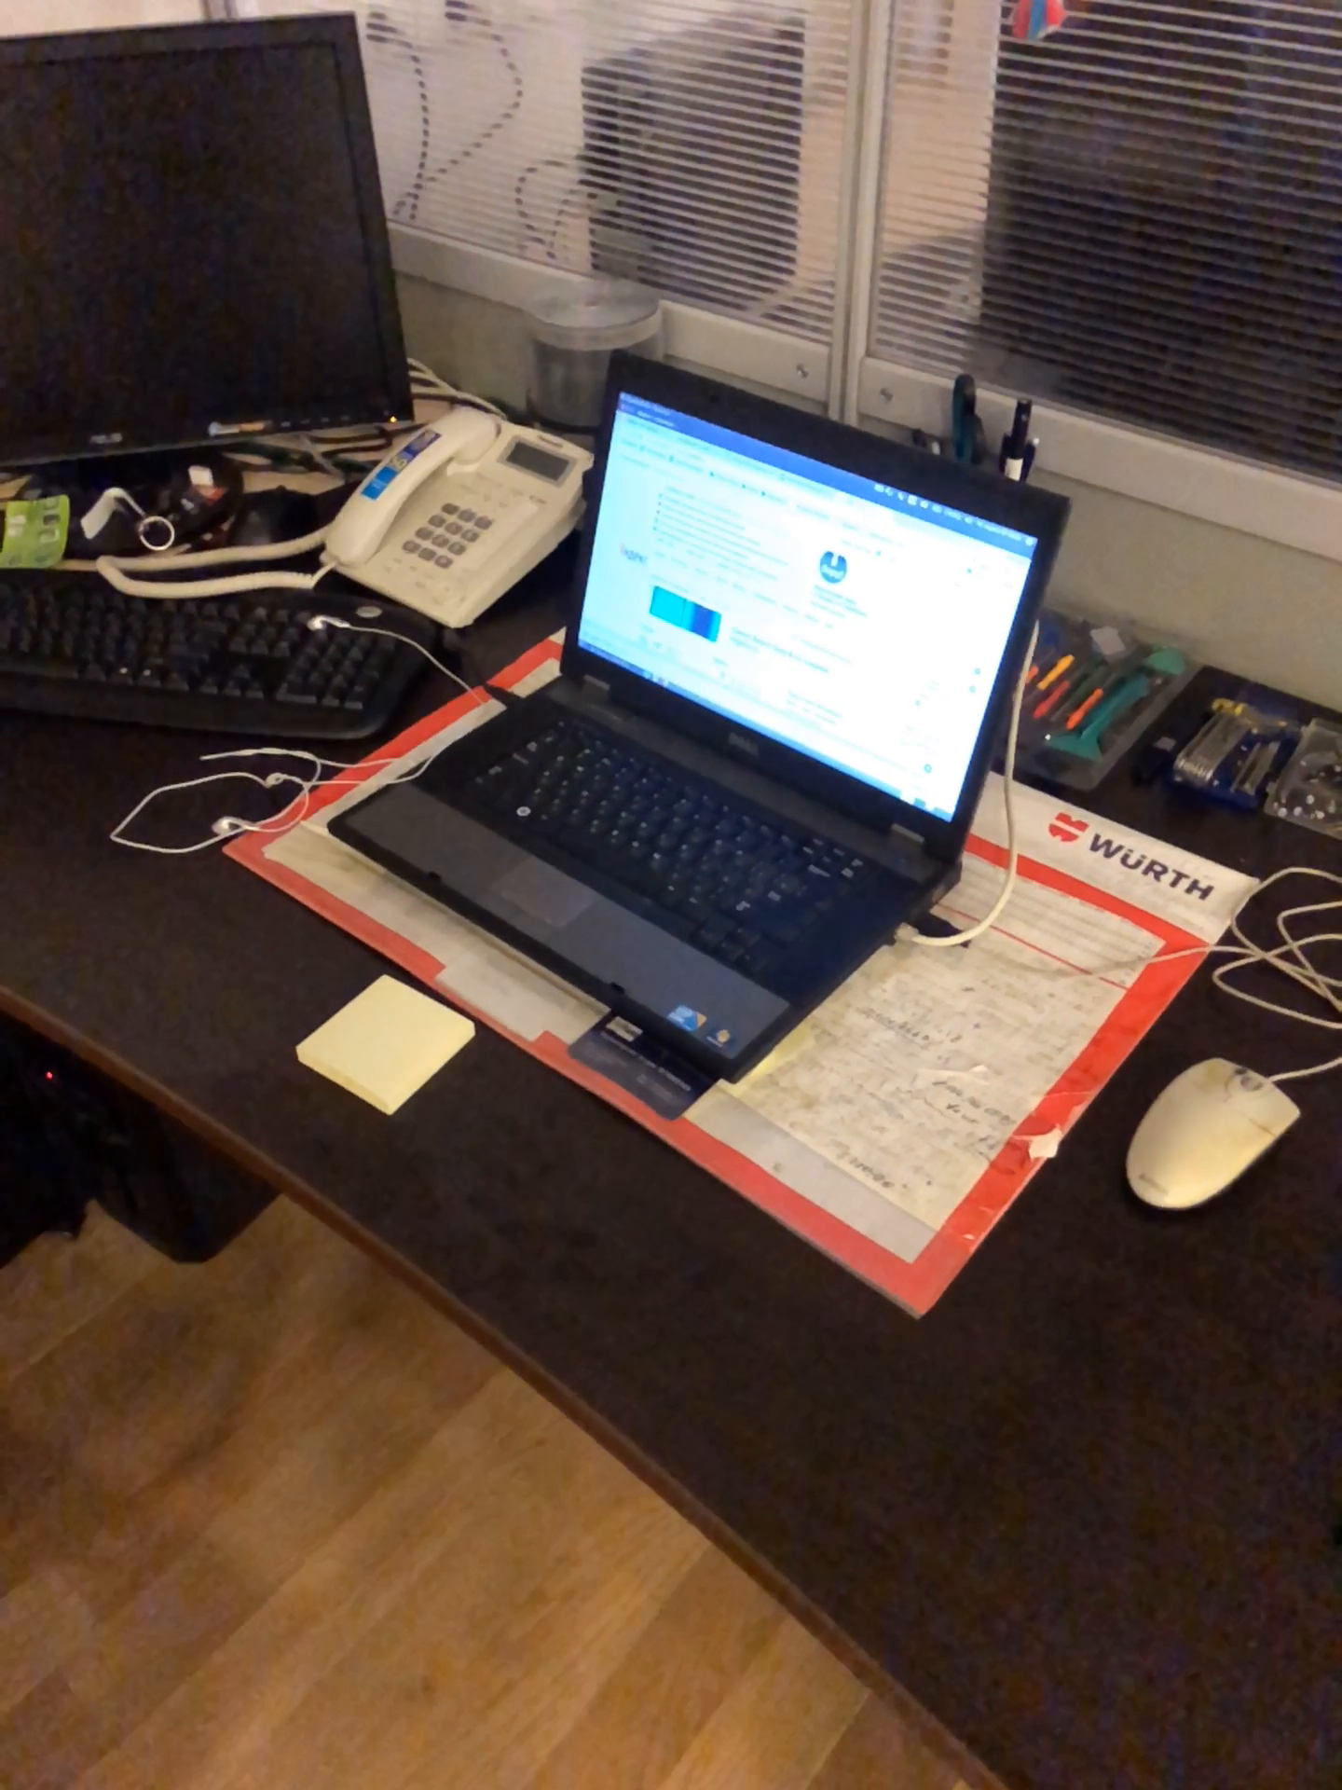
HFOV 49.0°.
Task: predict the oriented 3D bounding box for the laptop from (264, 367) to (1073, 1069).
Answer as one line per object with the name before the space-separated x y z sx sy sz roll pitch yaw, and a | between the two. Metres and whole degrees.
laptop | -0.001 -0.118 0.826 0.317 0.209 0.256 29 50 30
